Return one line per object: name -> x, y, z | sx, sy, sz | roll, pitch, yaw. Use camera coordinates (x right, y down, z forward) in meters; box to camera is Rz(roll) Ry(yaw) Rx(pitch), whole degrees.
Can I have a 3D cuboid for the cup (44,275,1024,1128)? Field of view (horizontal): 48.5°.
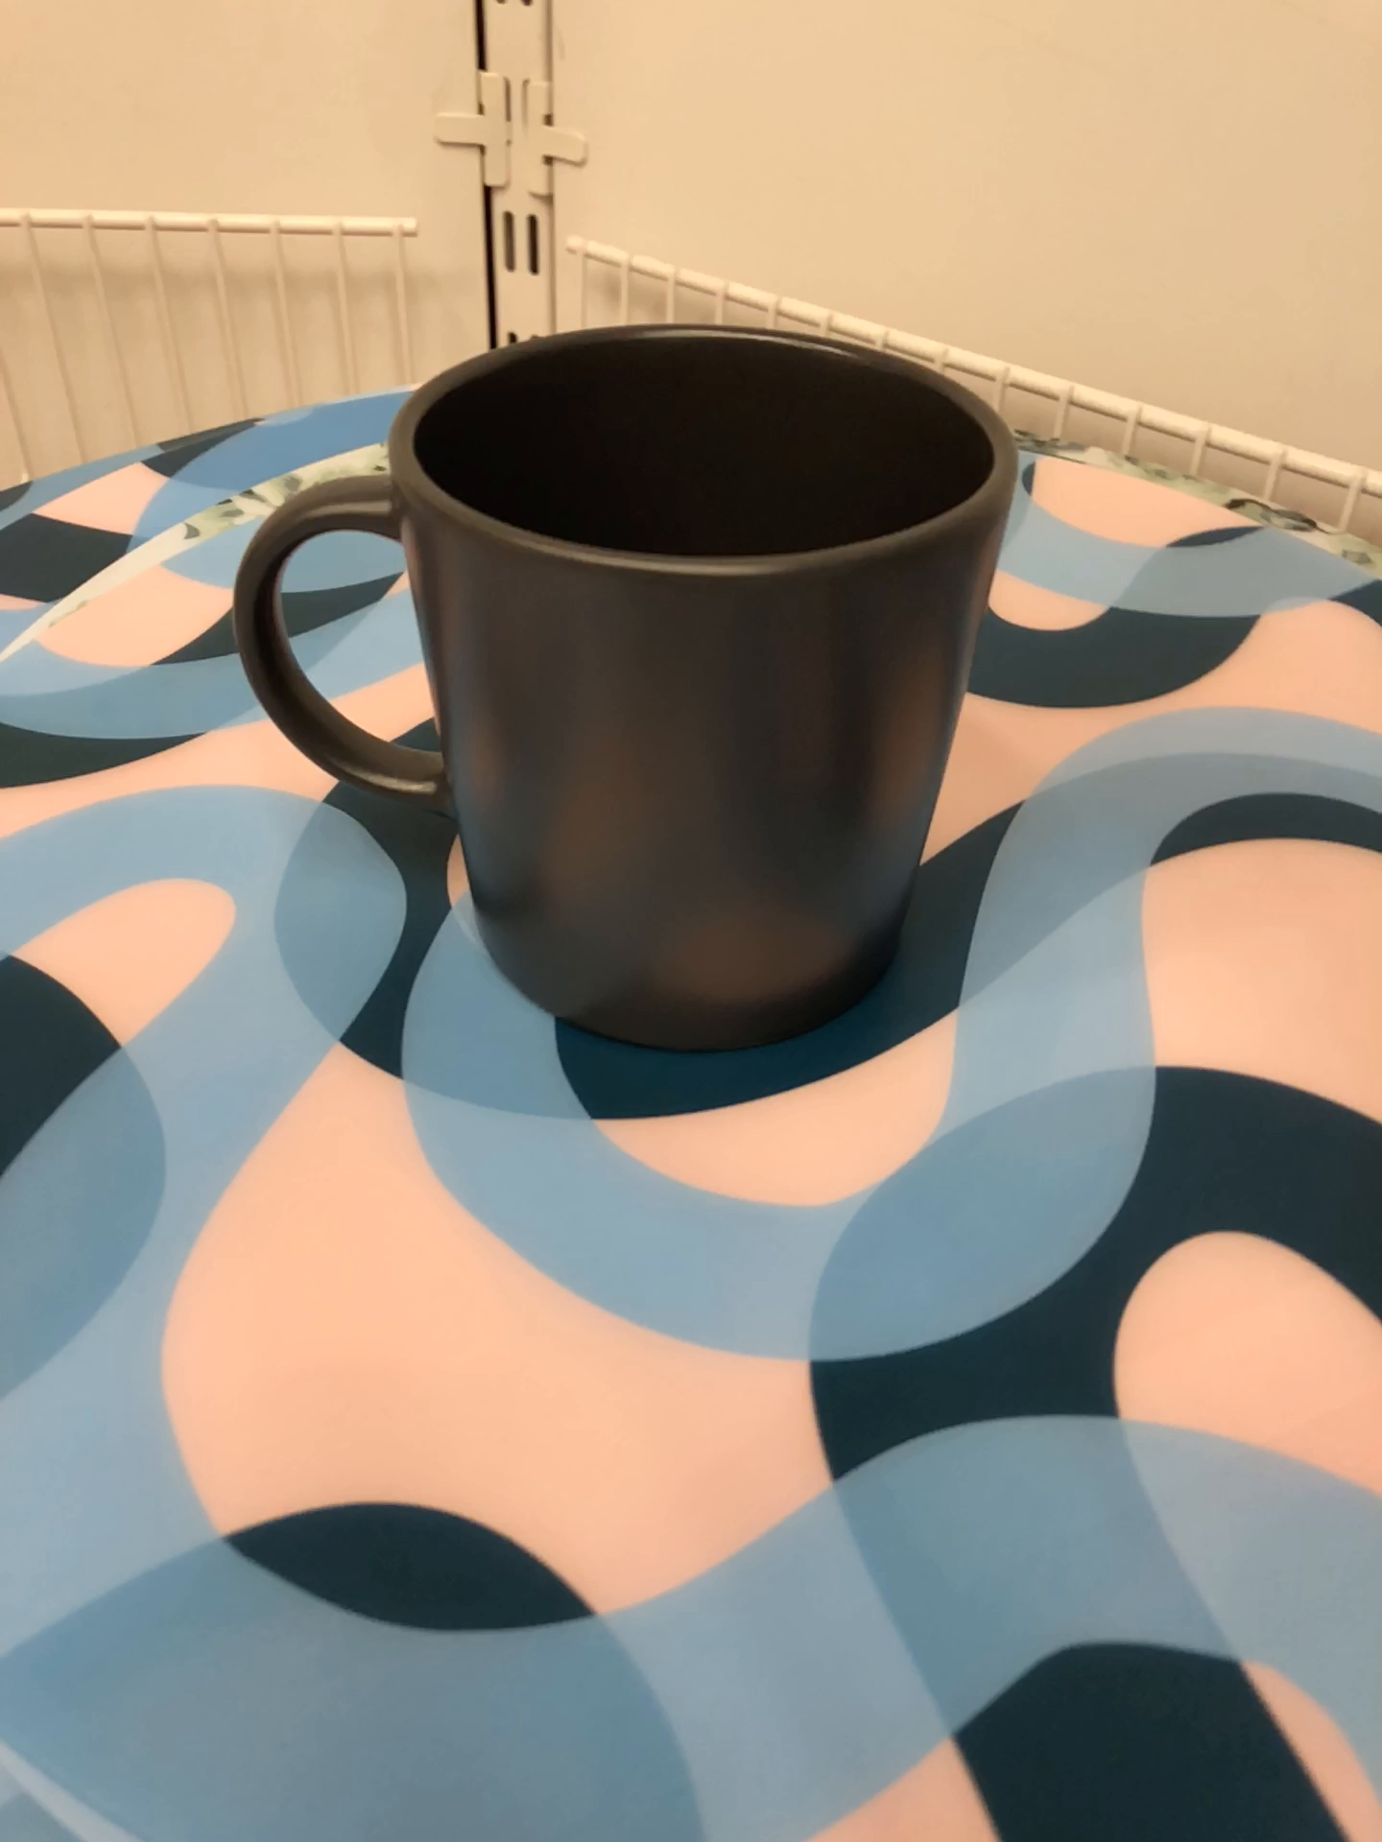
cup -> -0.016, -0.040, 0.249 | 0.120, 0.090, 0.090 | 9, 38, 9
